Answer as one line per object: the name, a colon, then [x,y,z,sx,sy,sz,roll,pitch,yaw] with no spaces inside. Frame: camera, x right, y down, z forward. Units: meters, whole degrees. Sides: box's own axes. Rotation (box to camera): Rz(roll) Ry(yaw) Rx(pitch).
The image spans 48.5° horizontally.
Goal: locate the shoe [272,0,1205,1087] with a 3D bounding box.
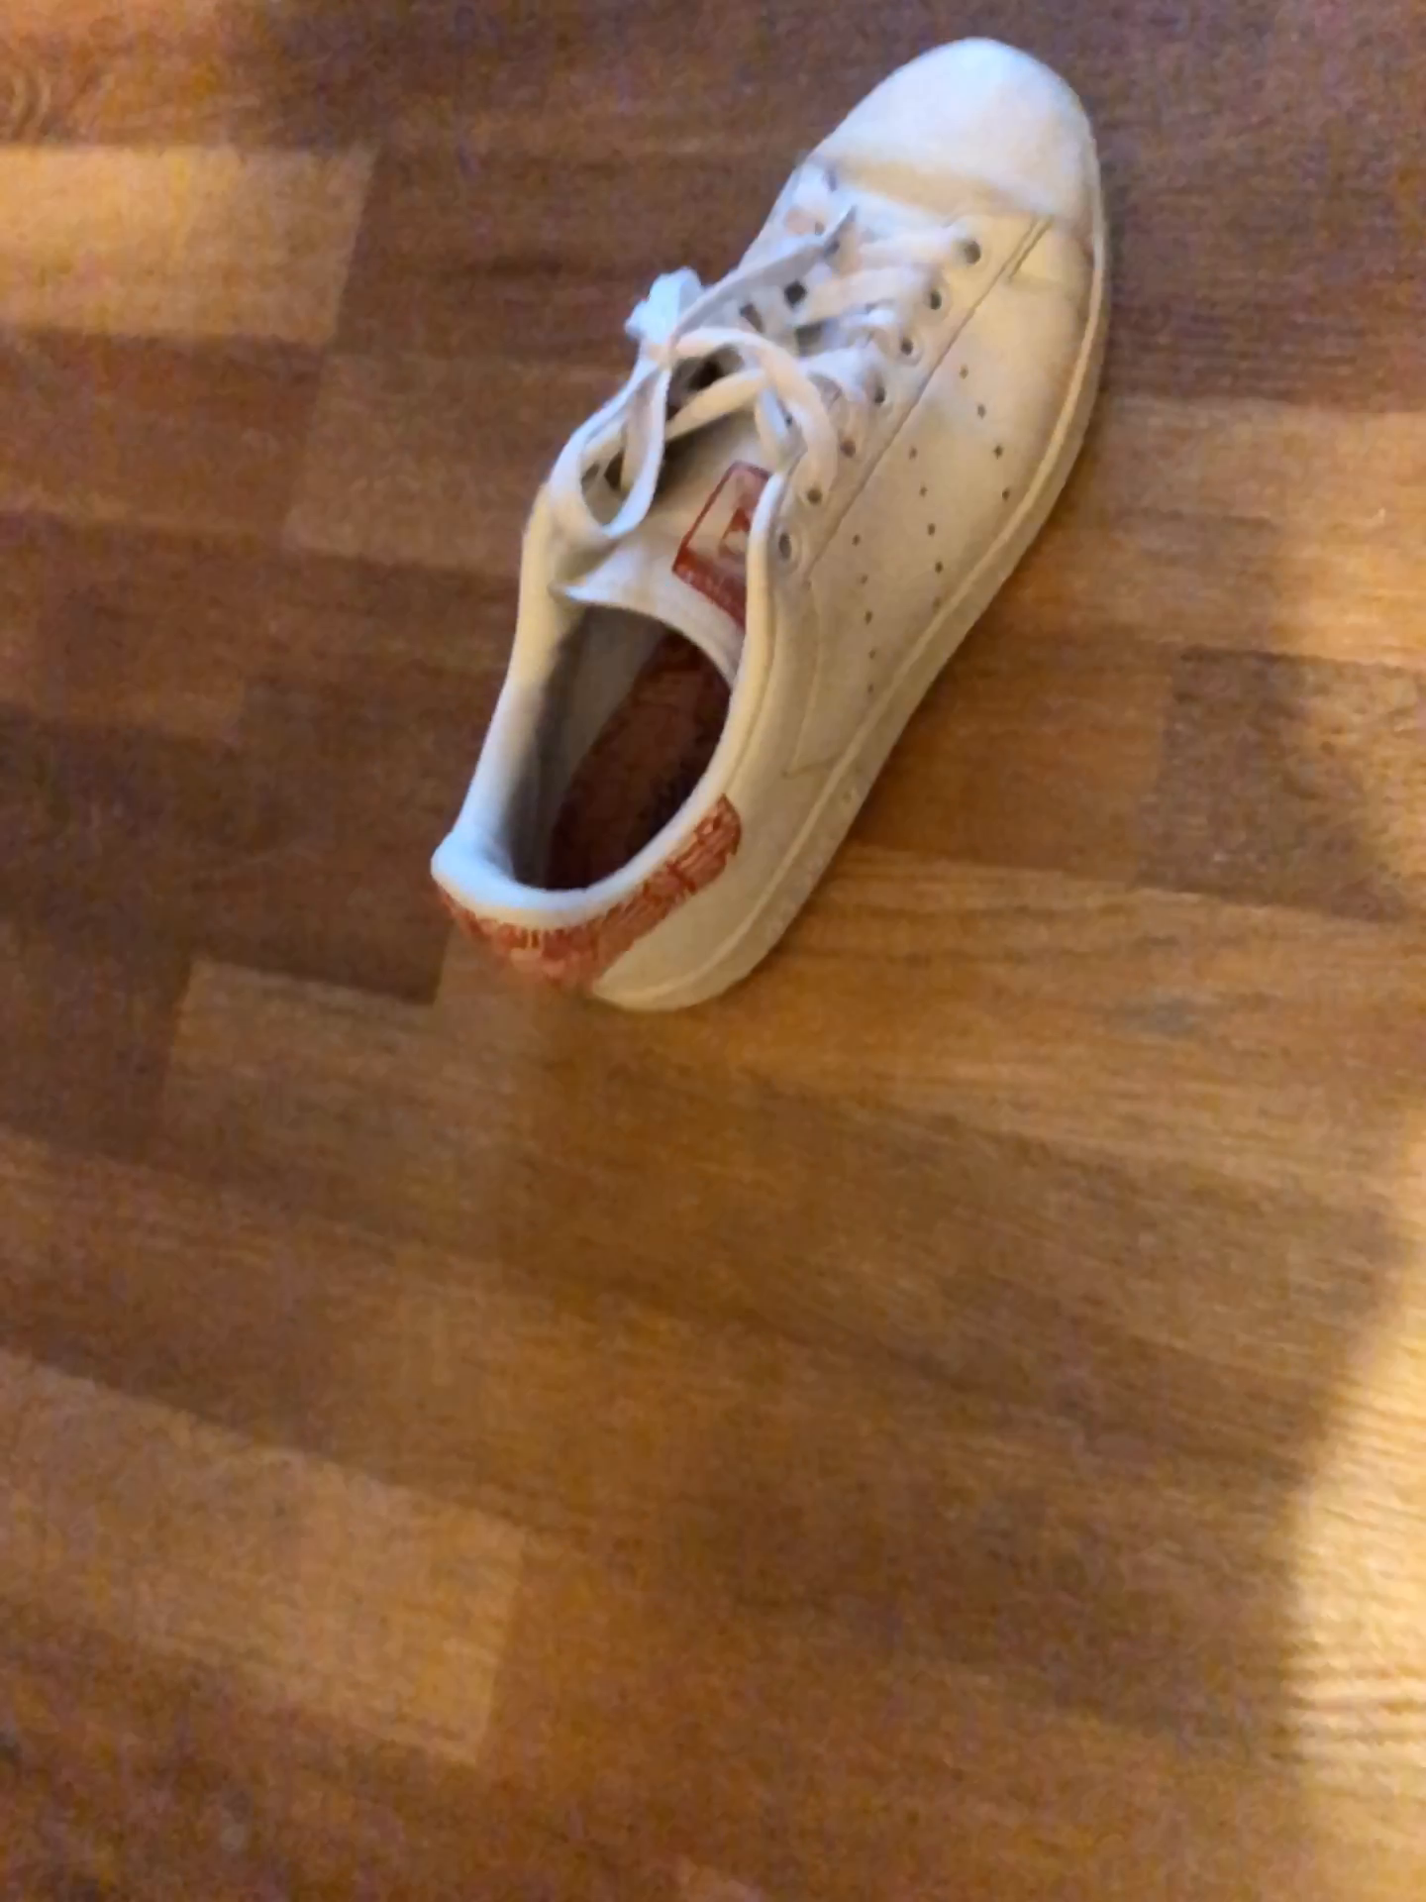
shoe: [0.017,-0.105,0.383,0.100,0.110,0.250,26,89,20]
